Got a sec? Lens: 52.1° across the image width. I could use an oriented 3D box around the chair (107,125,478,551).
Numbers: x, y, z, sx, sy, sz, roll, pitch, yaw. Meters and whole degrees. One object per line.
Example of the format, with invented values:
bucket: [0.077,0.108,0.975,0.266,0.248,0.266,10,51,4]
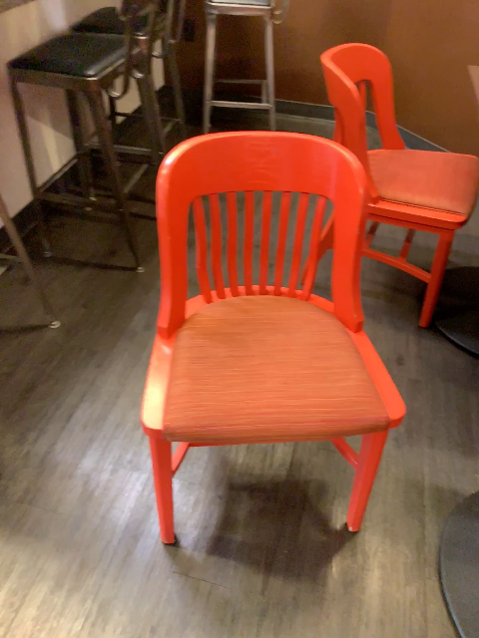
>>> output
chair: [0.066,0.062,1.154,0.560,0.807,0.583,-2,43,-5]
